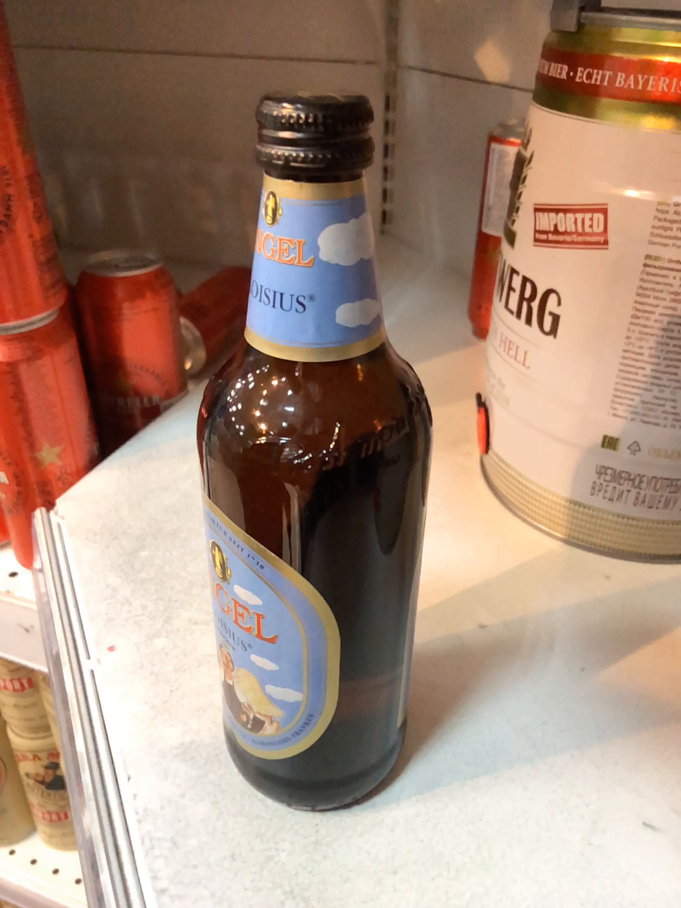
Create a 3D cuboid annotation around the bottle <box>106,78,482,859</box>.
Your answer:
[{"bbox_3d":[-0.014,0.014,0.227,0.060,0.219,0.070,-15,35,-24],"label":"bottle"}]
